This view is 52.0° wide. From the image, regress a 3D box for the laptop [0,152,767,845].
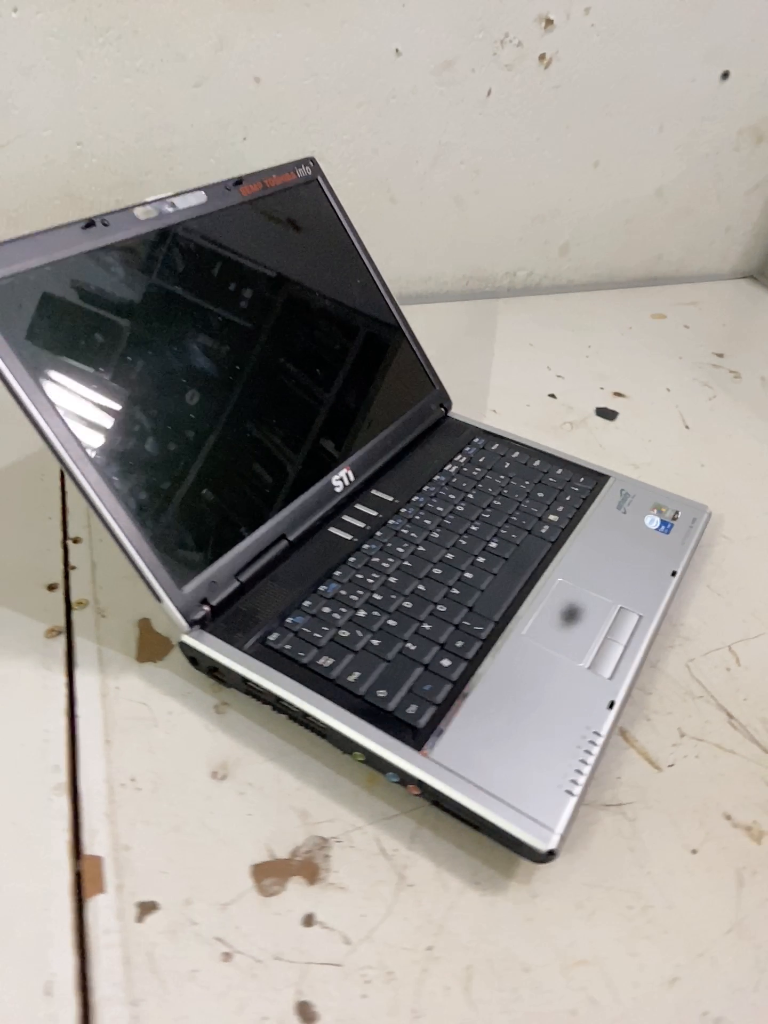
[{"bbox_3d":[0.006,-0.067,0.498,0.386,0.167,0.327,25,41,21],"label":"laptop"}]
